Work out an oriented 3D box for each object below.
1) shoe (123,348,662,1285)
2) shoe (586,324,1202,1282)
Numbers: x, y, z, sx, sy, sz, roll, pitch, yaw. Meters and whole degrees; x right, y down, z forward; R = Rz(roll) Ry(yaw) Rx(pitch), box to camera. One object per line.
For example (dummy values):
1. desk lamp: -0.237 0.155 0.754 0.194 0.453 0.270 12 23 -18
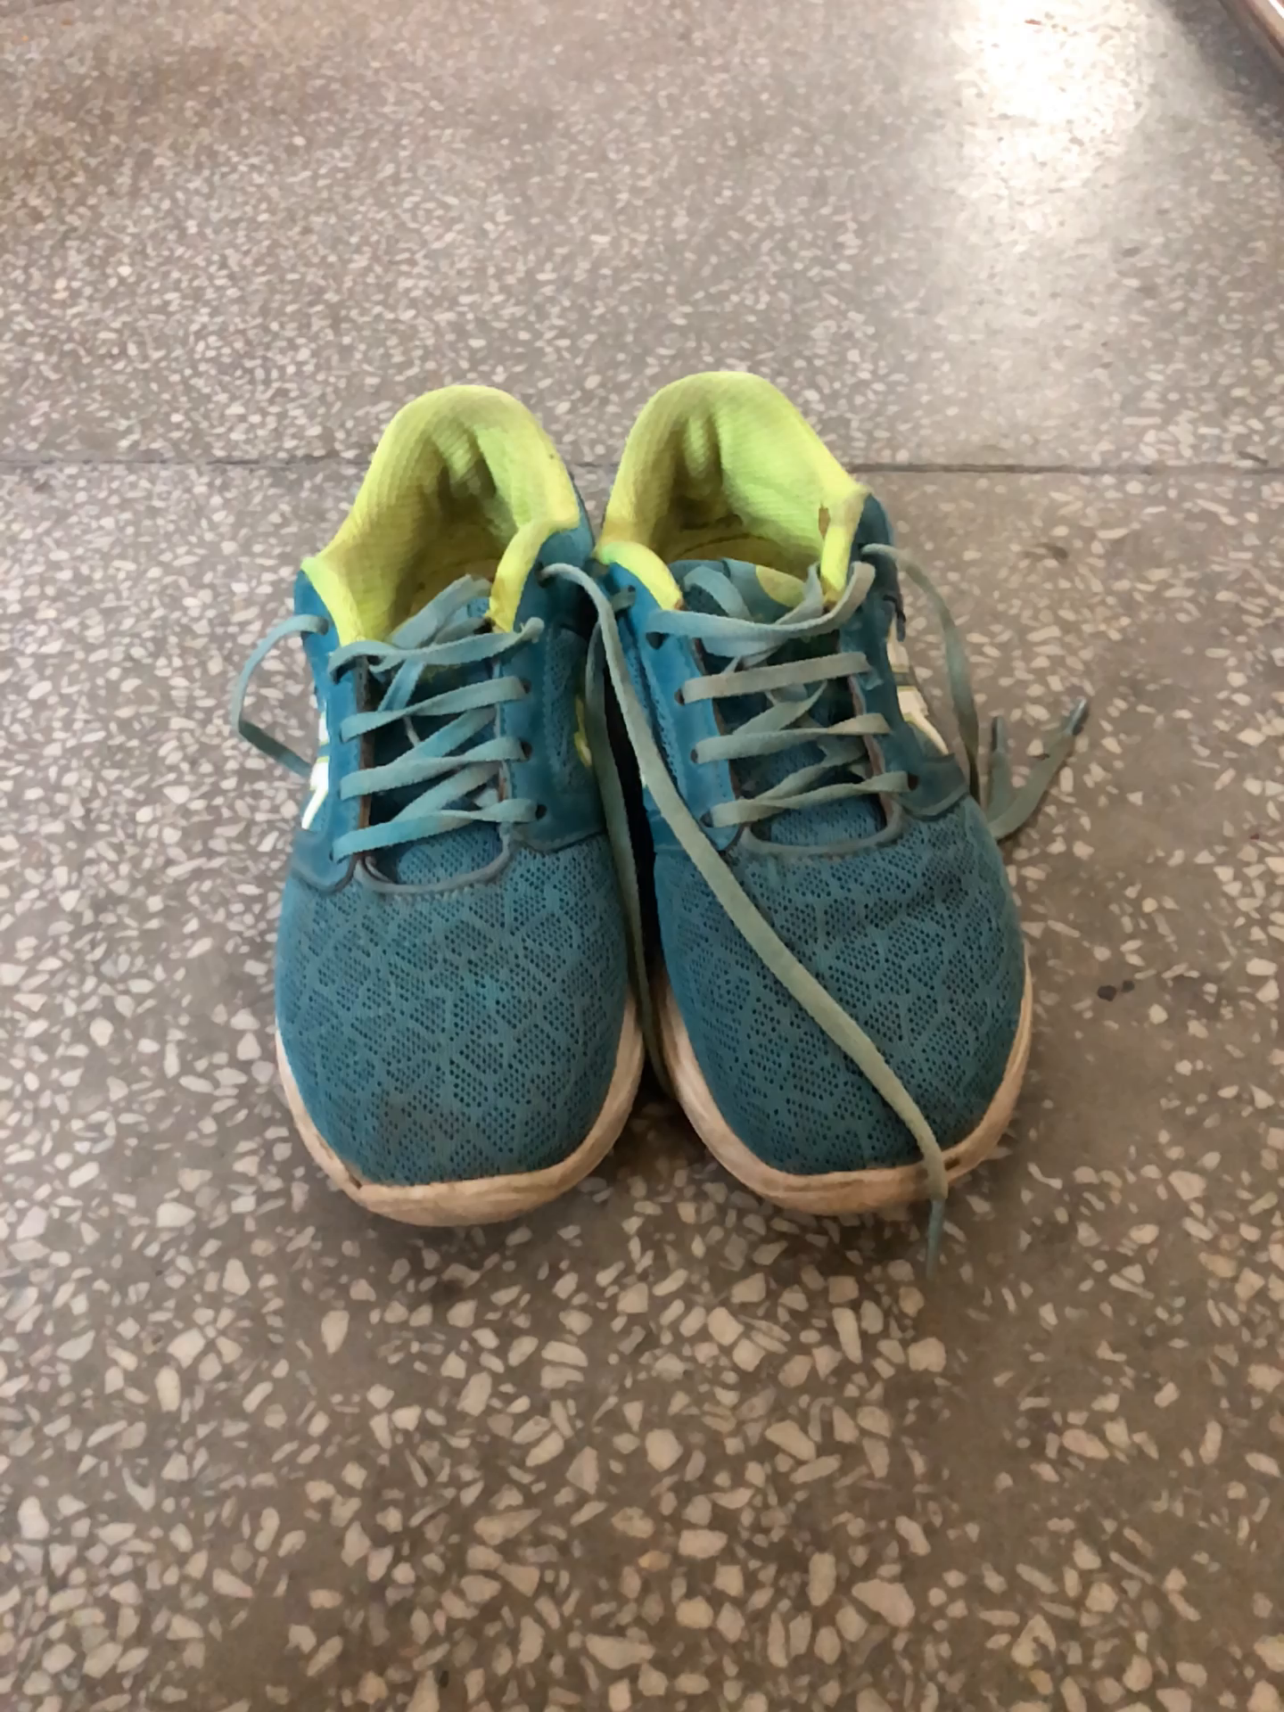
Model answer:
1. shoe: -0.050 -0.023 0.366 0.091 0.091 0.231 -5 50 2
2. shoe: 0.044 -0.027 0.355 0.094 0.088 0.230 -7 49 1
